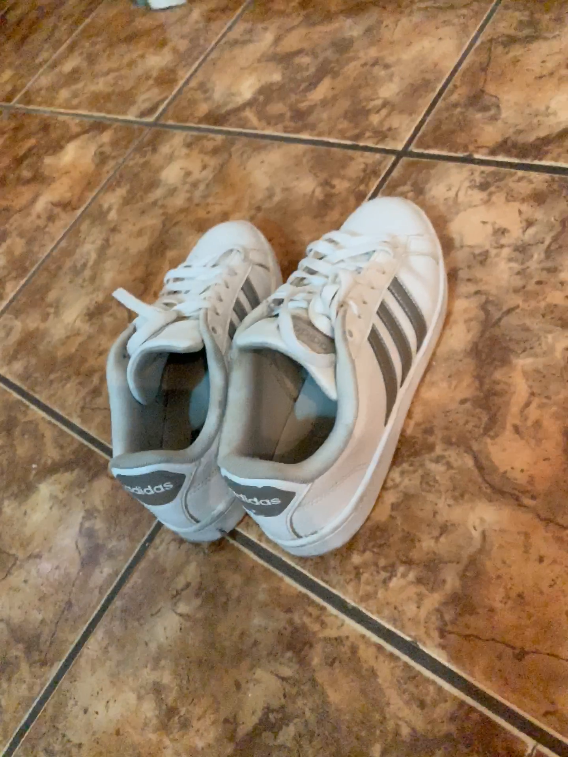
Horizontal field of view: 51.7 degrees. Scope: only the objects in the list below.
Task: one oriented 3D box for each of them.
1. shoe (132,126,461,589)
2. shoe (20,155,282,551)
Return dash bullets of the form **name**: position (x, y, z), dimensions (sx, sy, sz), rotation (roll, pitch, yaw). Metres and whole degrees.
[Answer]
- **shoe**: position (0.027, -0.022, 0.369), dimensions (0.101, 0.104, 0.257), rotation (6, 62, 30)
- **shoe**: position (-0.076, -0.022, 0.422), dimensions (0.101, 0.104, 0.257), rotation (-11, 55, 21)
